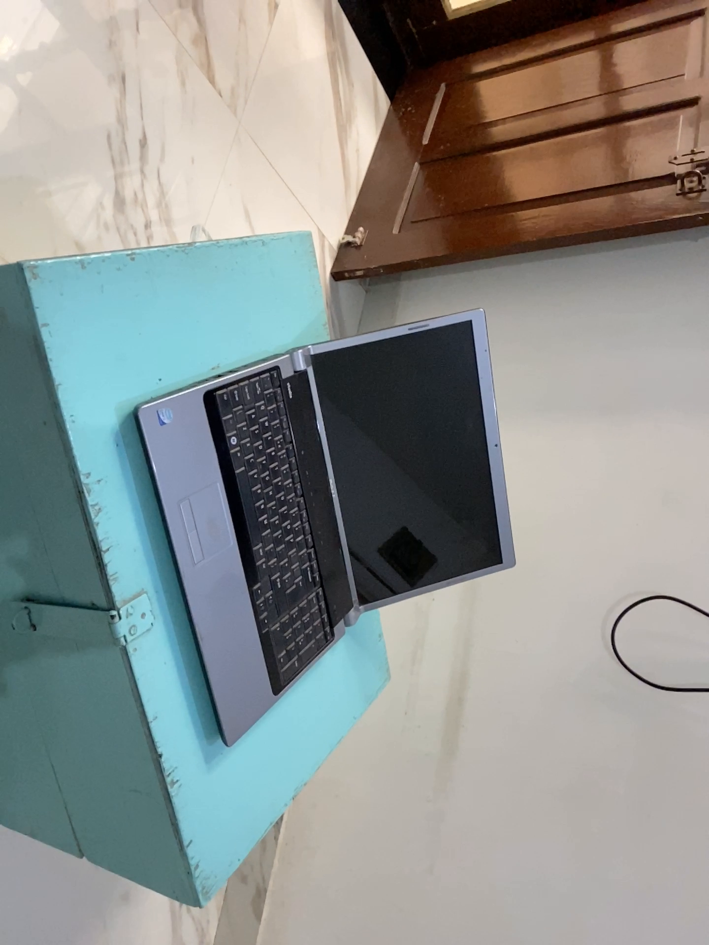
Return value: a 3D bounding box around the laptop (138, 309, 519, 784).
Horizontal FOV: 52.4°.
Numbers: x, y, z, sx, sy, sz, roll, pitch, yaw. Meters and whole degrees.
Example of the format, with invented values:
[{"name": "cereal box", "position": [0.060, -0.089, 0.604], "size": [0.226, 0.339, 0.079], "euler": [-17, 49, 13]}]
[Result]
[{"name": "laptop", "position": [0.022, 0.043, 0.896], "size": [0.480, 0.178, 0.389], "euler": [-35, 120, -53]}]
